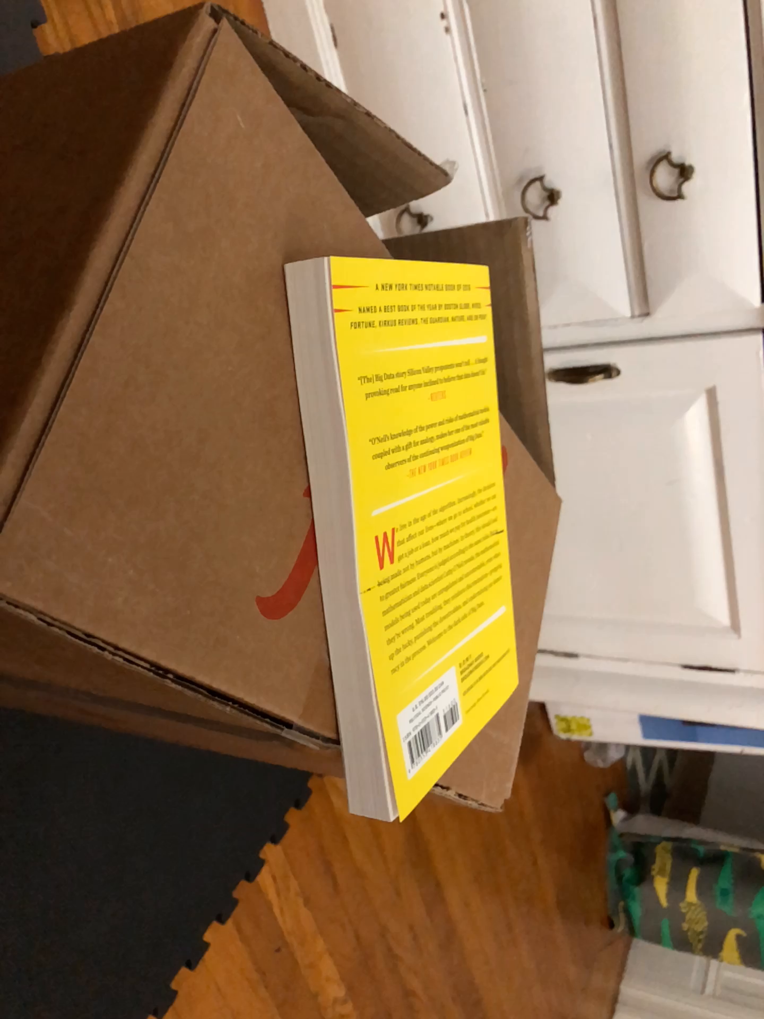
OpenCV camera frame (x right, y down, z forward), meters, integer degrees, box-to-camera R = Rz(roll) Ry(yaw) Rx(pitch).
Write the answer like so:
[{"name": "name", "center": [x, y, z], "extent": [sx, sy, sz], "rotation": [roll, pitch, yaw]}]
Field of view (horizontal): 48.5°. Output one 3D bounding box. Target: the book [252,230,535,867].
[{"name": "book", "center": [0.018, 0.004, 0.350], "extent": [0.151, 0.020, 0.220], "rotation": [-24, 110, -56]}]
